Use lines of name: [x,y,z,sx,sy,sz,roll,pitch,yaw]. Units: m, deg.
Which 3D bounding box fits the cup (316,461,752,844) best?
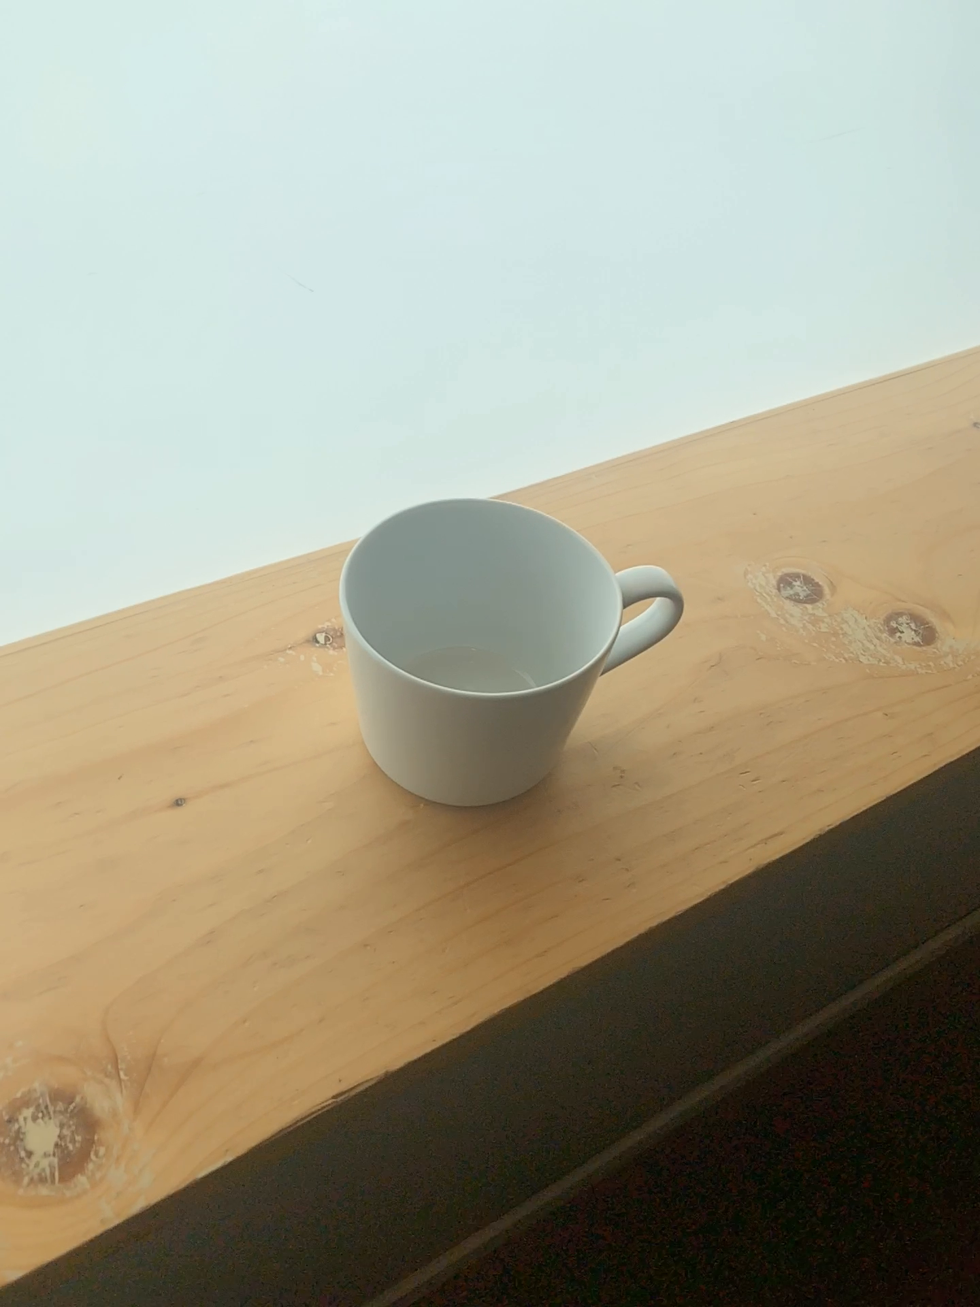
cup: [0.011,-0.004,0.385,0.130,0.080,0.090,-14,52,-18]
